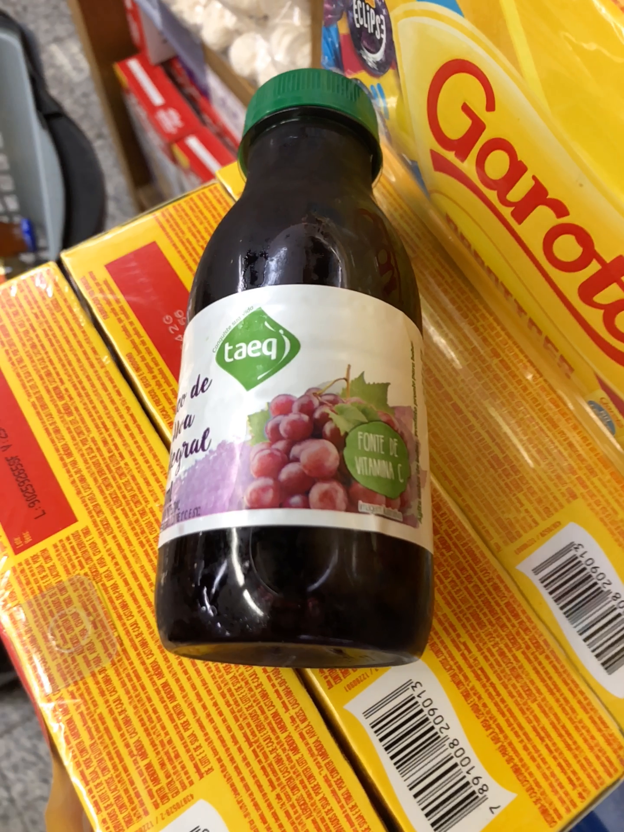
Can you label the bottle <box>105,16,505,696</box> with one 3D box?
[{"bbox_3d":[0.002,-0.022,0.181,0.070,0.050,0.170,2,65,0],"label":"bottle"}]
